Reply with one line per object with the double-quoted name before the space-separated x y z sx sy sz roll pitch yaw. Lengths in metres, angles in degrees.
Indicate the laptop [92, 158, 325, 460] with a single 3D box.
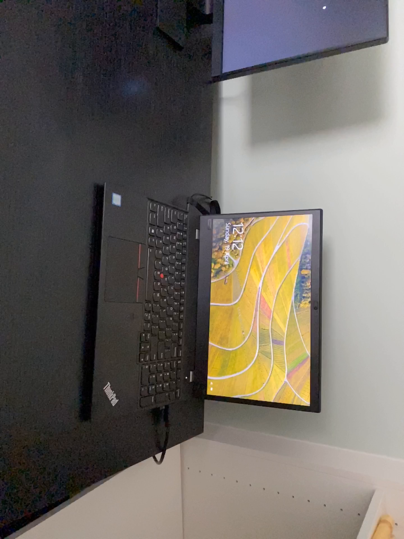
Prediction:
"laptop" 0.032 0.058 0.661 0.295 0.231 0.351 11 79 -56
